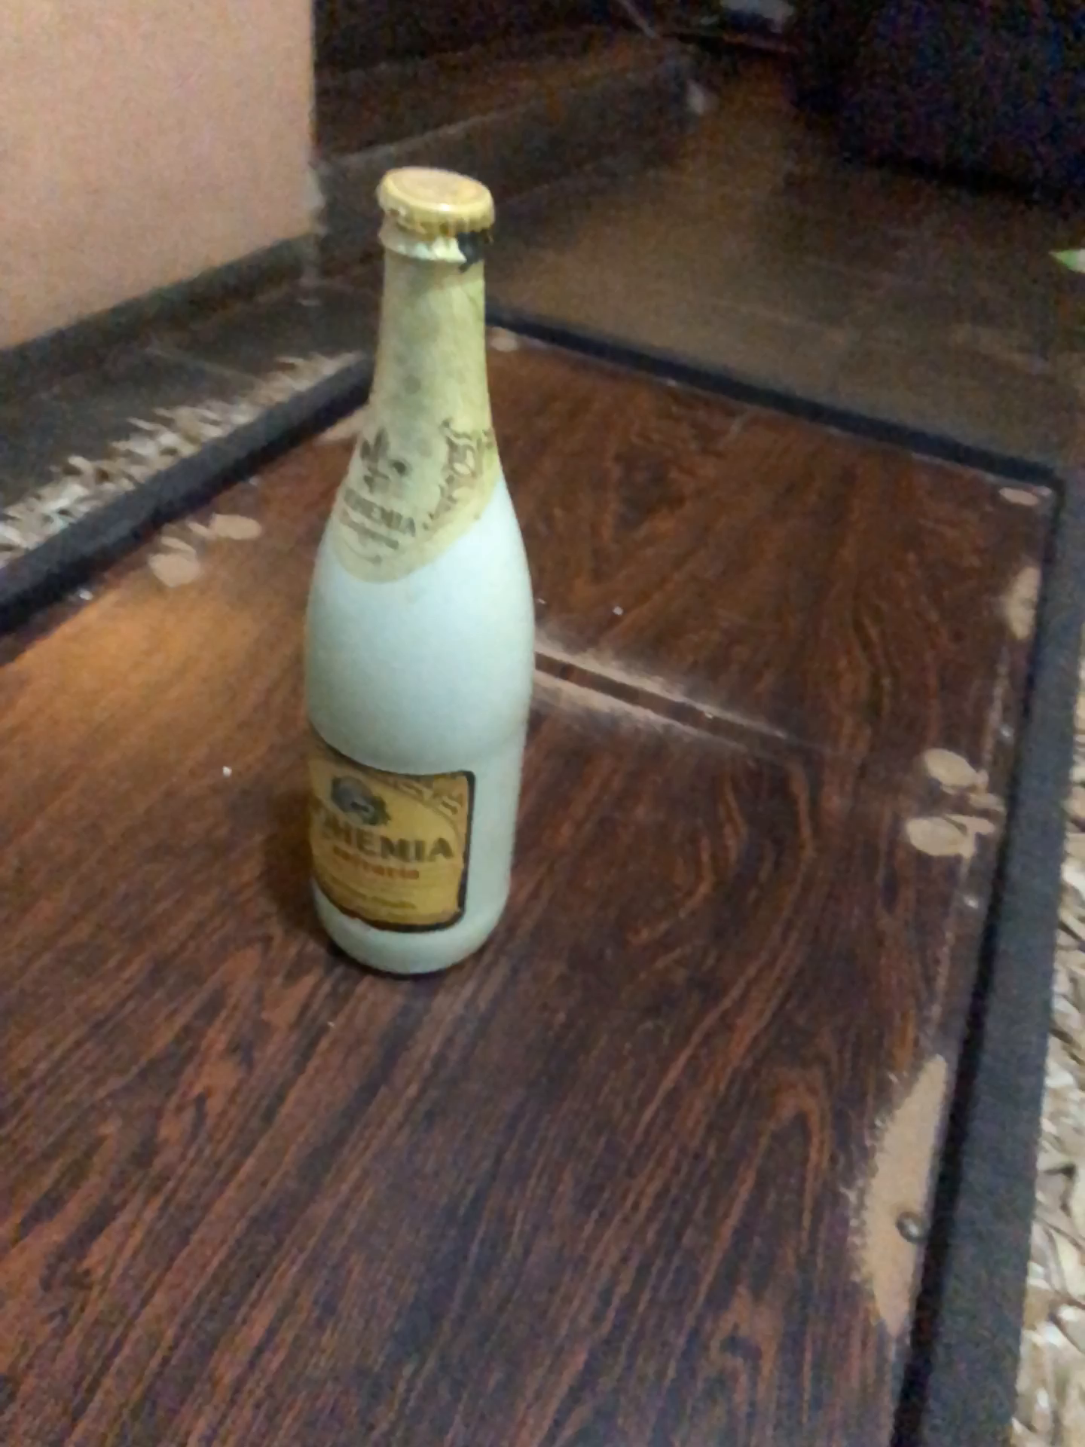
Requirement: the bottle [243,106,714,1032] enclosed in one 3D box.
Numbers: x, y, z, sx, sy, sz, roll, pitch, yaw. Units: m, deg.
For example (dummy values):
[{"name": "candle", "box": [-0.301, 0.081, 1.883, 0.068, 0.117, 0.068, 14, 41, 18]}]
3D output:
[{"name": "bottle", "box": [-0.027, -0.033, 0.354, 0.080, 0.248, 0.081, 6, 37, -4]}]
